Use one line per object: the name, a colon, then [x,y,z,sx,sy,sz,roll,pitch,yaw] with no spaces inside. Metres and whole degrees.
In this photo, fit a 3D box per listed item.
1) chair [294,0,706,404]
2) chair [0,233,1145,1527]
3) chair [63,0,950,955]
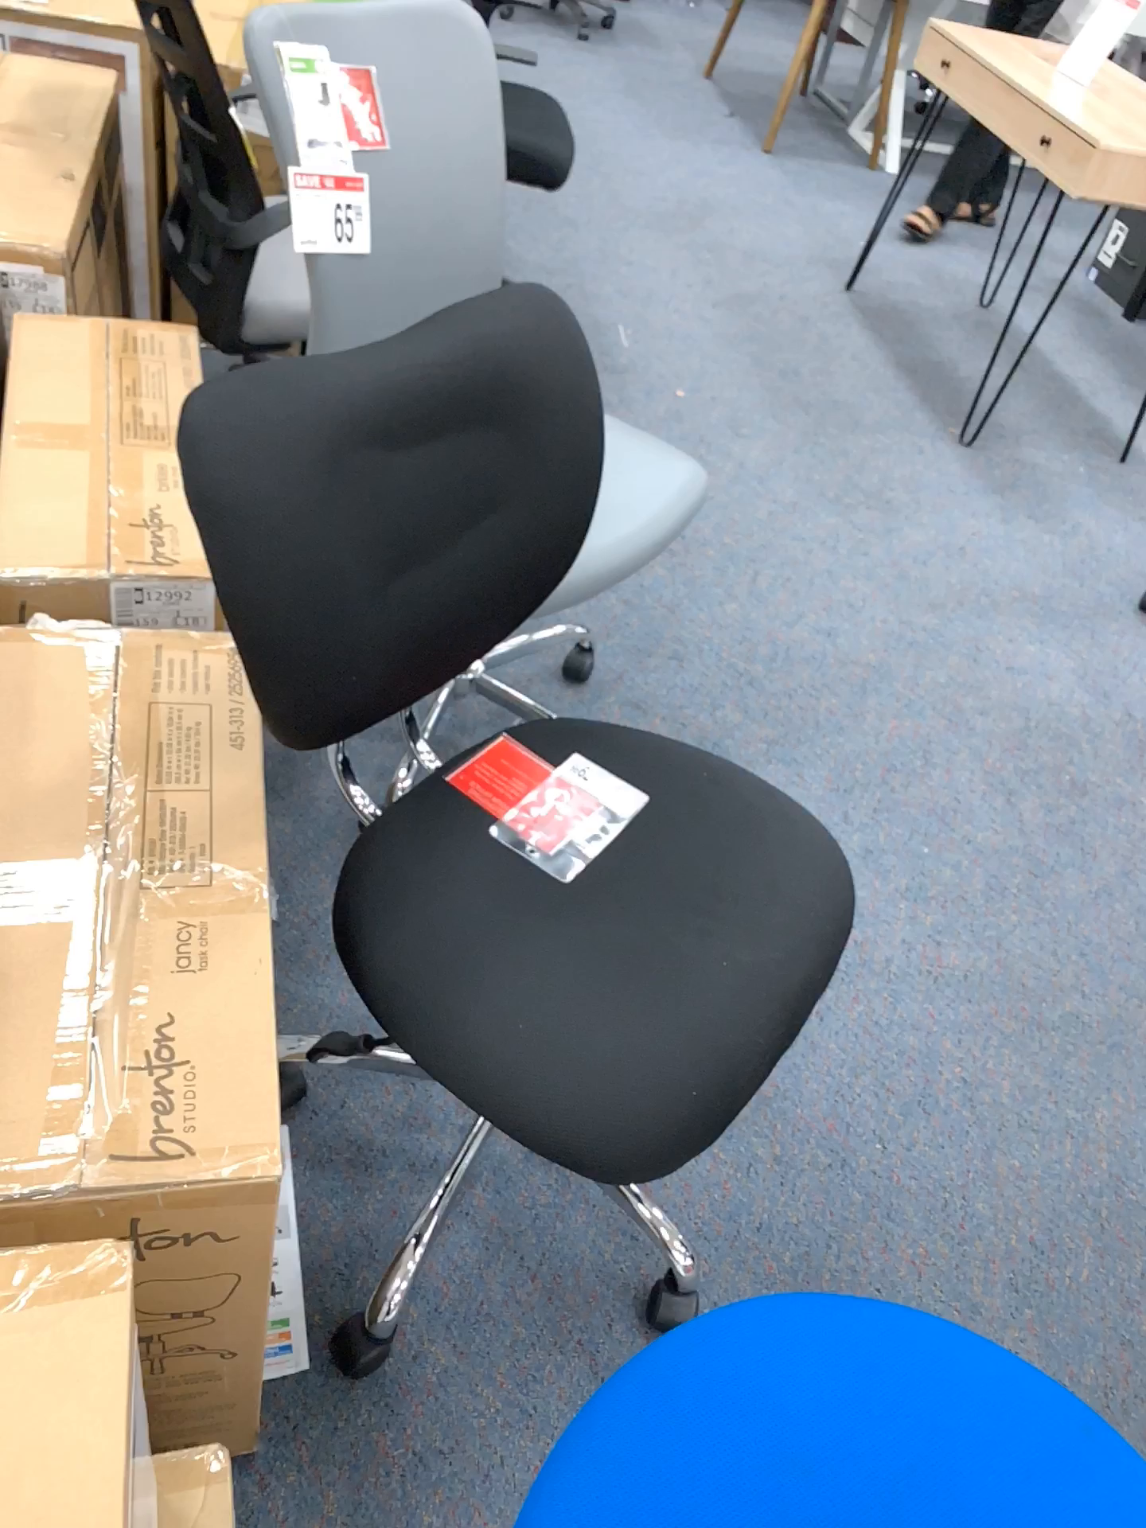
chair: [-0.235,-1.581,2.757,0.707,0.989,0.981,5,43,-11]
chair: [0.006,0.130,1.100,0.658,0.880,0.649,33,46,19]
chair: [-0.102,-0.440,1.632,0.707,0.960,0.740,29,44,15]
